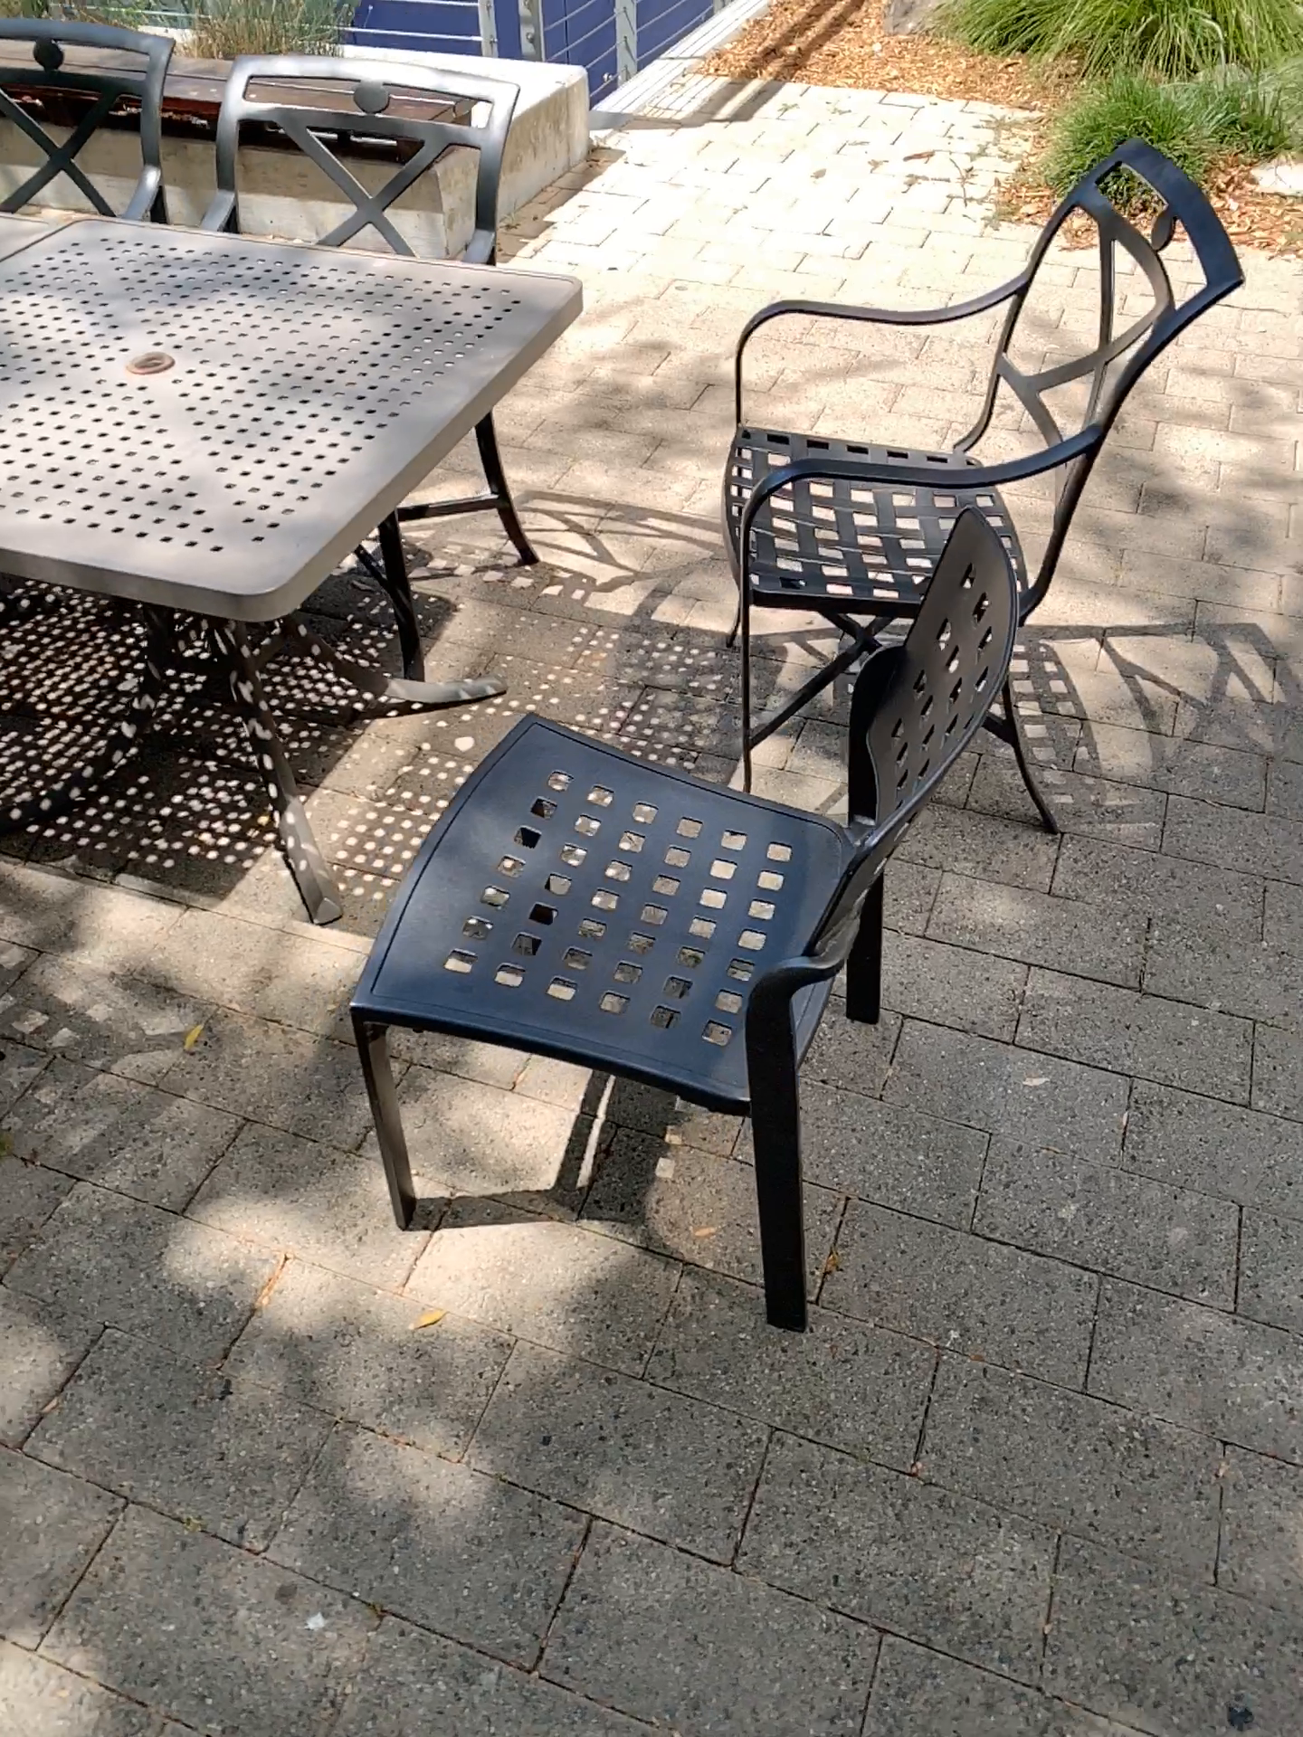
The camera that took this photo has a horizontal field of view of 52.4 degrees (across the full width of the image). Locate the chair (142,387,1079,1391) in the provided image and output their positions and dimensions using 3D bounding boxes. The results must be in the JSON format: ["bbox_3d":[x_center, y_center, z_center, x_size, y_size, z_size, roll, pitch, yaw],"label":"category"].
[{"bbox_3d":[0.021,0.010,1.377,0.651,0.706,0.623,11,46,11],"label":"chair"}]

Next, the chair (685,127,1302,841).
[{"bbox_3d":[0.388,-0.535,1.882,0.650,0.756,0.623,-1,45,0],"label":"chair"}]
